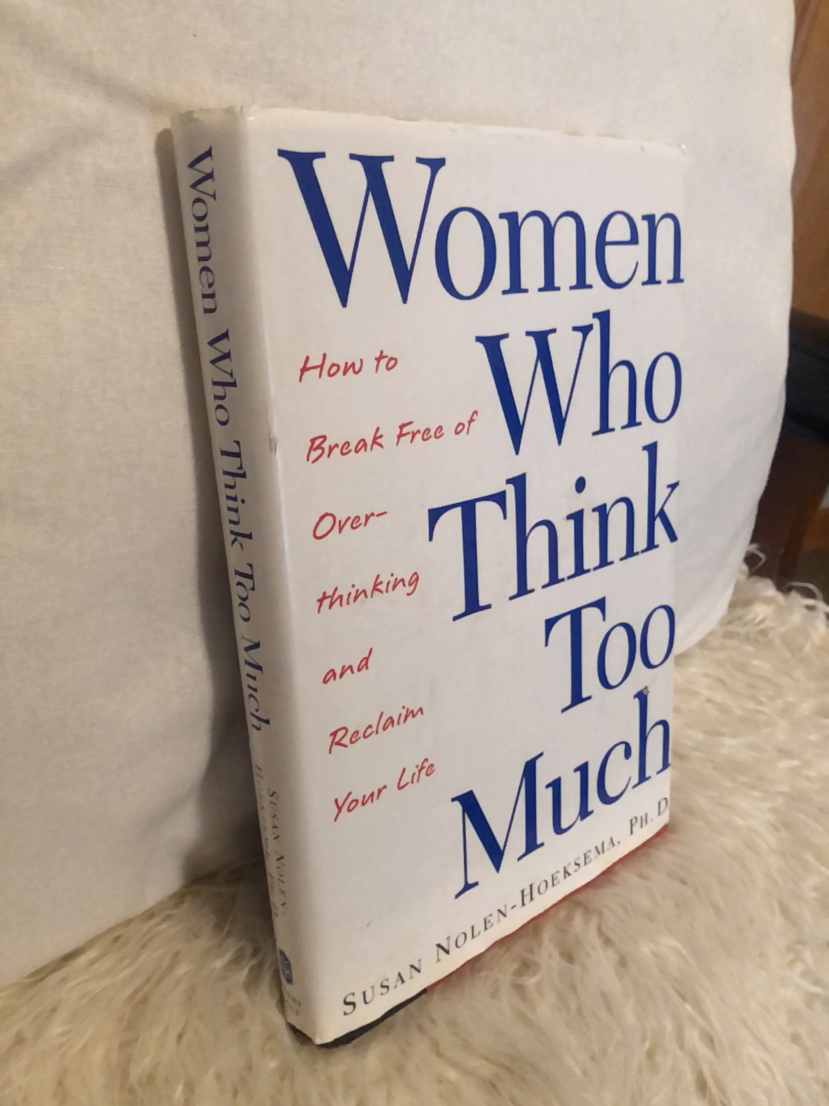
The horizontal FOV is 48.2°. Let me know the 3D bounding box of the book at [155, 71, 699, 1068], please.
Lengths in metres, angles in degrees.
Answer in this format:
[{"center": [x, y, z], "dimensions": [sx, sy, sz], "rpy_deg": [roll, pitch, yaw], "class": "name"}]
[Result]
[{"center": [0.022, -0.001, 0.284], "dimensions": [0.167, 0.241, 0.040], "rpy_deg": [-15, 18, -39], "class": "book"}]
